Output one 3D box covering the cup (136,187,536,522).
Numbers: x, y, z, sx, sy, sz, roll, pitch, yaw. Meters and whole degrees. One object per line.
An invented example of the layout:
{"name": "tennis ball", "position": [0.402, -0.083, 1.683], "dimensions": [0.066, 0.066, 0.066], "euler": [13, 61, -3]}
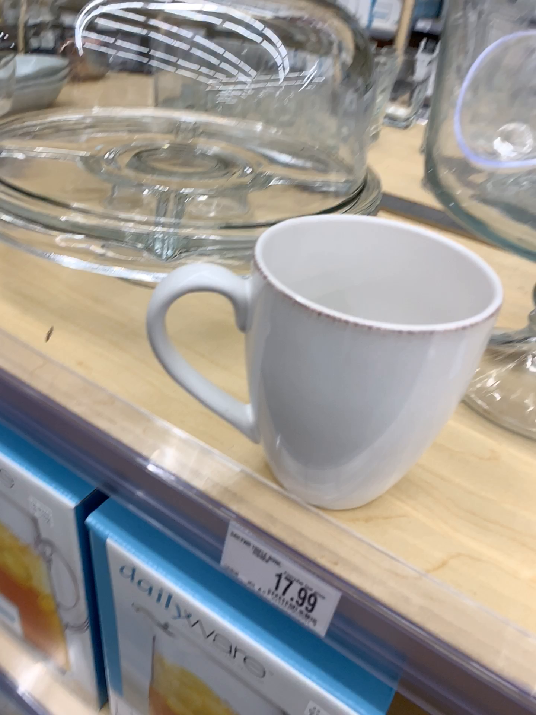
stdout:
{"name": "cup", "position": [0.018, -0.001, 0.229], "dimensions": [0.130, 0.094, 0.096], "euler": [2, 39, -8]}
